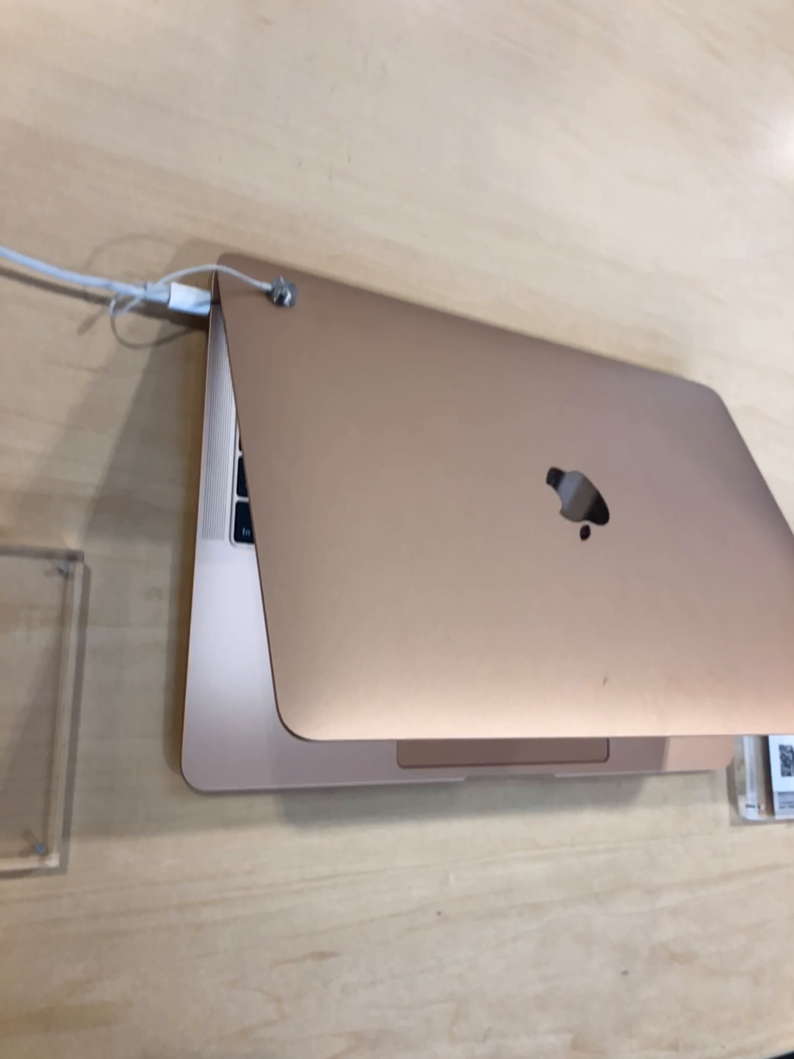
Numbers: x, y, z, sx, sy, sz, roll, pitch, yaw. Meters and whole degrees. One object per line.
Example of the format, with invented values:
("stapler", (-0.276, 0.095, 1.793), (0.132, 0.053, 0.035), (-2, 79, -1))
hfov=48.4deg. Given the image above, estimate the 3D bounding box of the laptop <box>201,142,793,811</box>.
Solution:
("laptop", (0.081, -0.003, 0.368), (0.289, 0.093, 0.202), (7, 76, -30))
